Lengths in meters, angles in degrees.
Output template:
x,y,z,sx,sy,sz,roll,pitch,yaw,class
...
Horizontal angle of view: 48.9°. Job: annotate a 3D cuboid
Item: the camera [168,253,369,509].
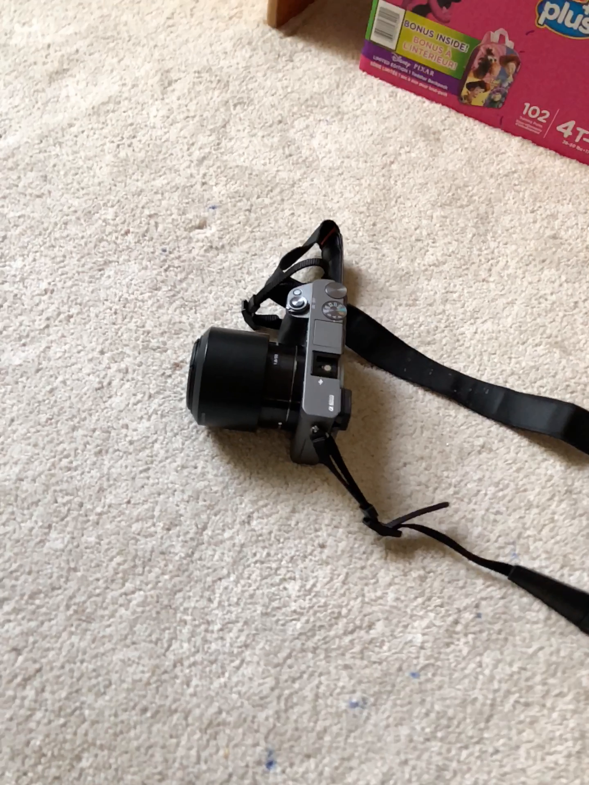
x,y,z,sx,sy,sz,roll,pitch,yaw,class
-0.015,-0.009,0.422,0.110,0.070,0.140,7,54,-5,camera
